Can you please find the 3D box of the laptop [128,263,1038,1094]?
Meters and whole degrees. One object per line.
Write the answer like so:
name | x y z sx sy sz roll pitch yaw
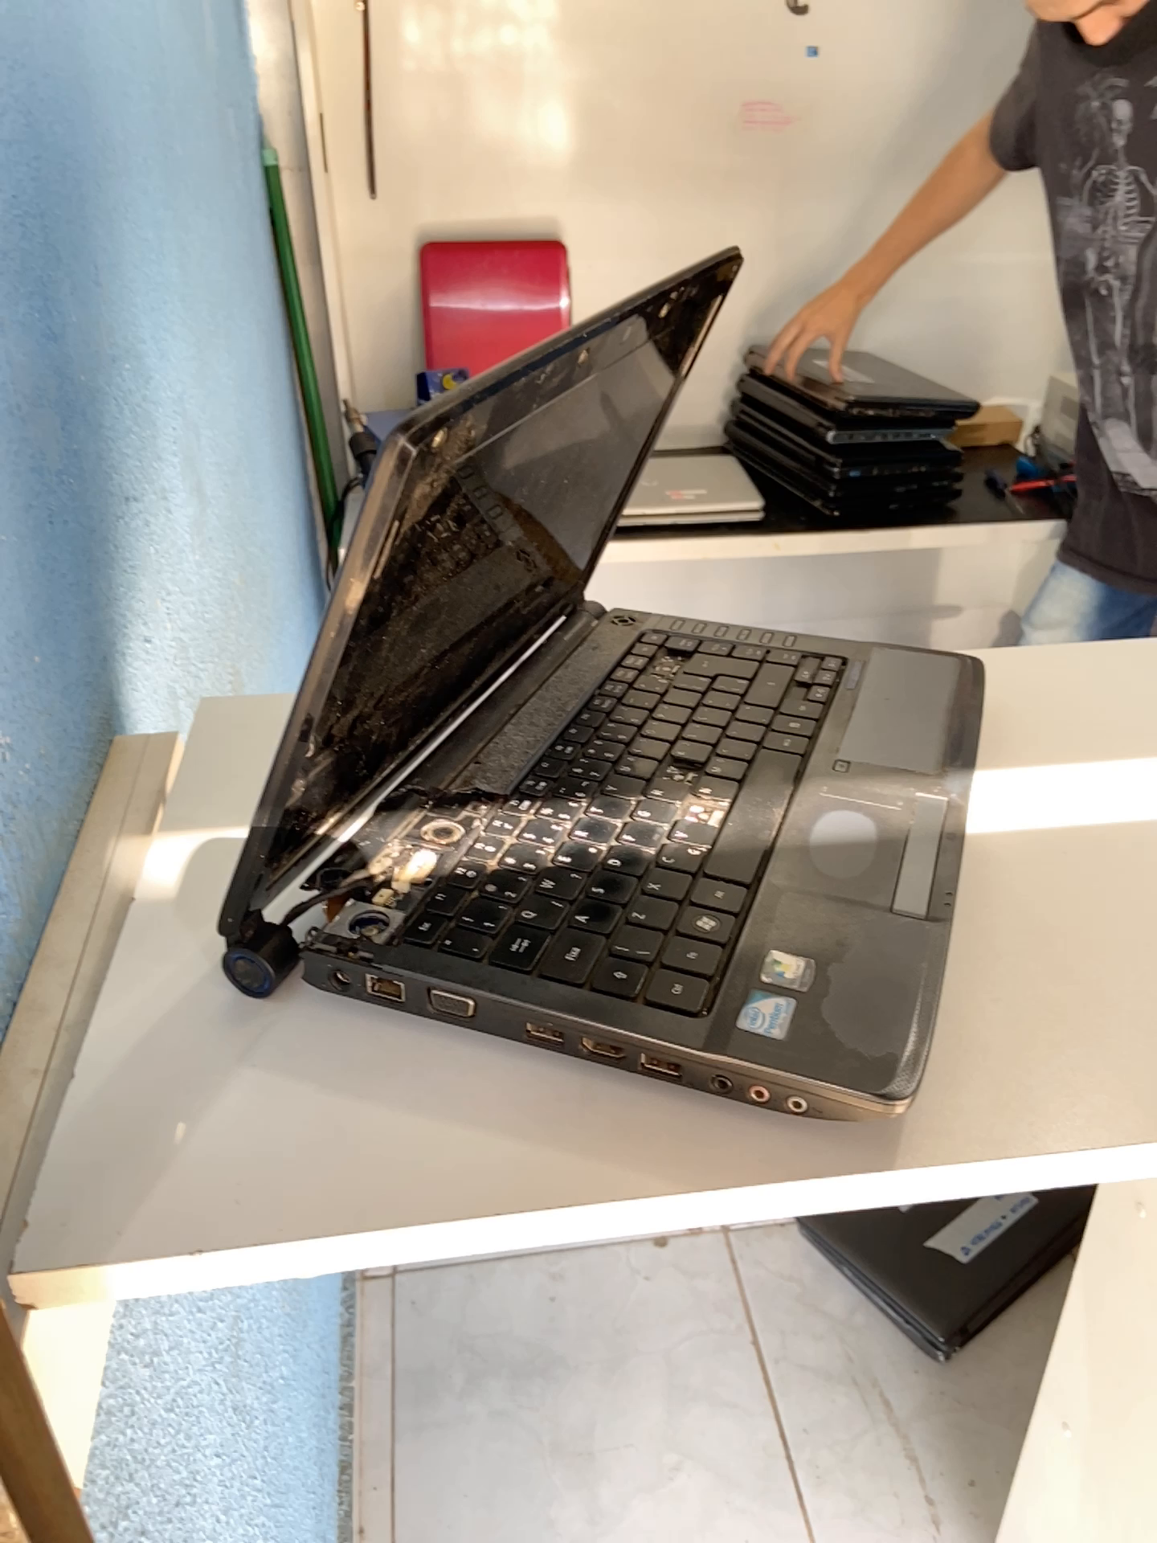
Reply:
laptop | 0.044 -0.081 0.481 0.228 0.182 0.336 10 31 18
